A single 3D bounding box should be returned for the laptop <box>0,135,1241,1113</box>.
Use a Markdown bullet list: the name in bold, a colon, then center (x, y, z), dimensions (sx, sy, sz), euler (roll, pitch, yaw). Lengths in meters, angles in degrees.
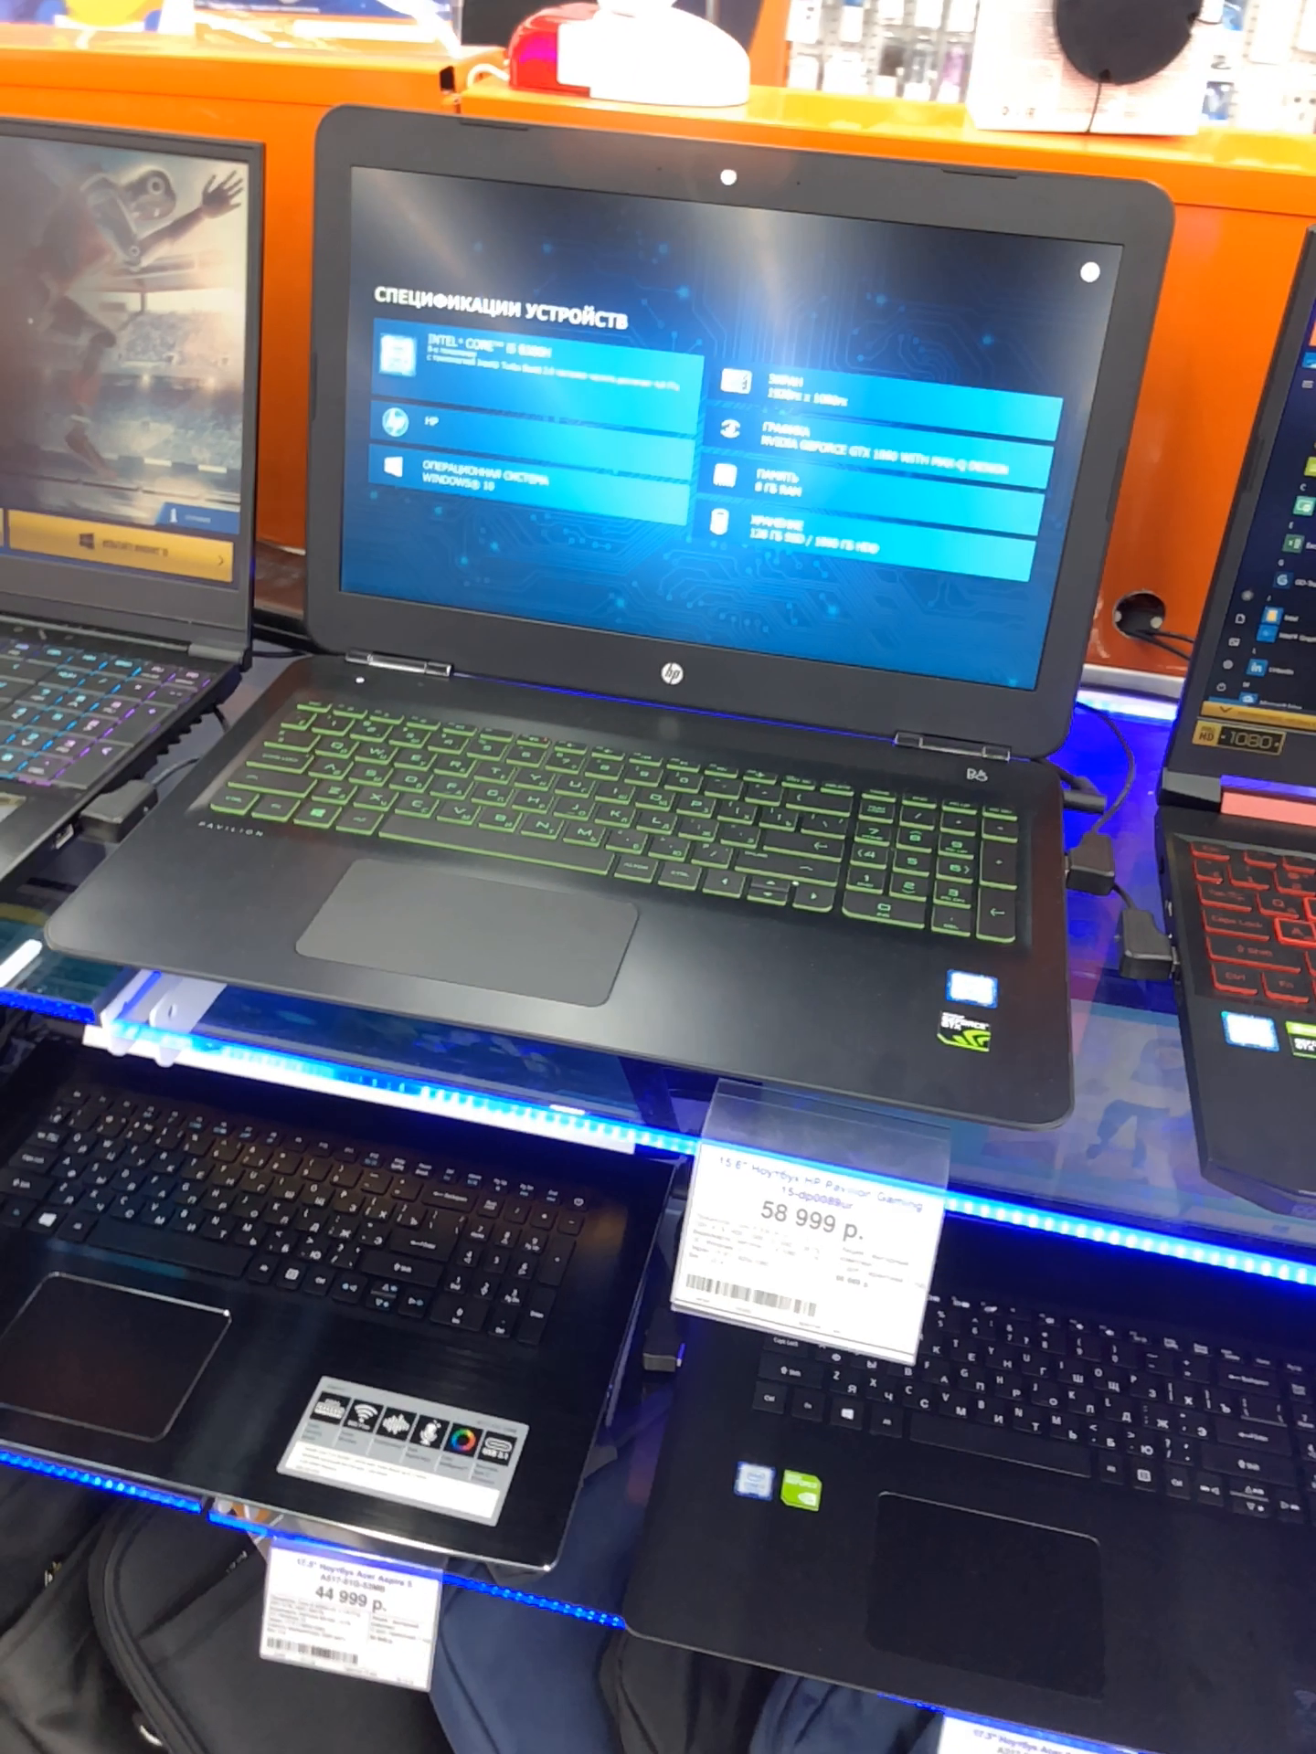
- **laptop**: center (-0.009, -0.130, 0.571), dimensions (0.357, 0.235, 0.313), euler (9, 34, 8)
